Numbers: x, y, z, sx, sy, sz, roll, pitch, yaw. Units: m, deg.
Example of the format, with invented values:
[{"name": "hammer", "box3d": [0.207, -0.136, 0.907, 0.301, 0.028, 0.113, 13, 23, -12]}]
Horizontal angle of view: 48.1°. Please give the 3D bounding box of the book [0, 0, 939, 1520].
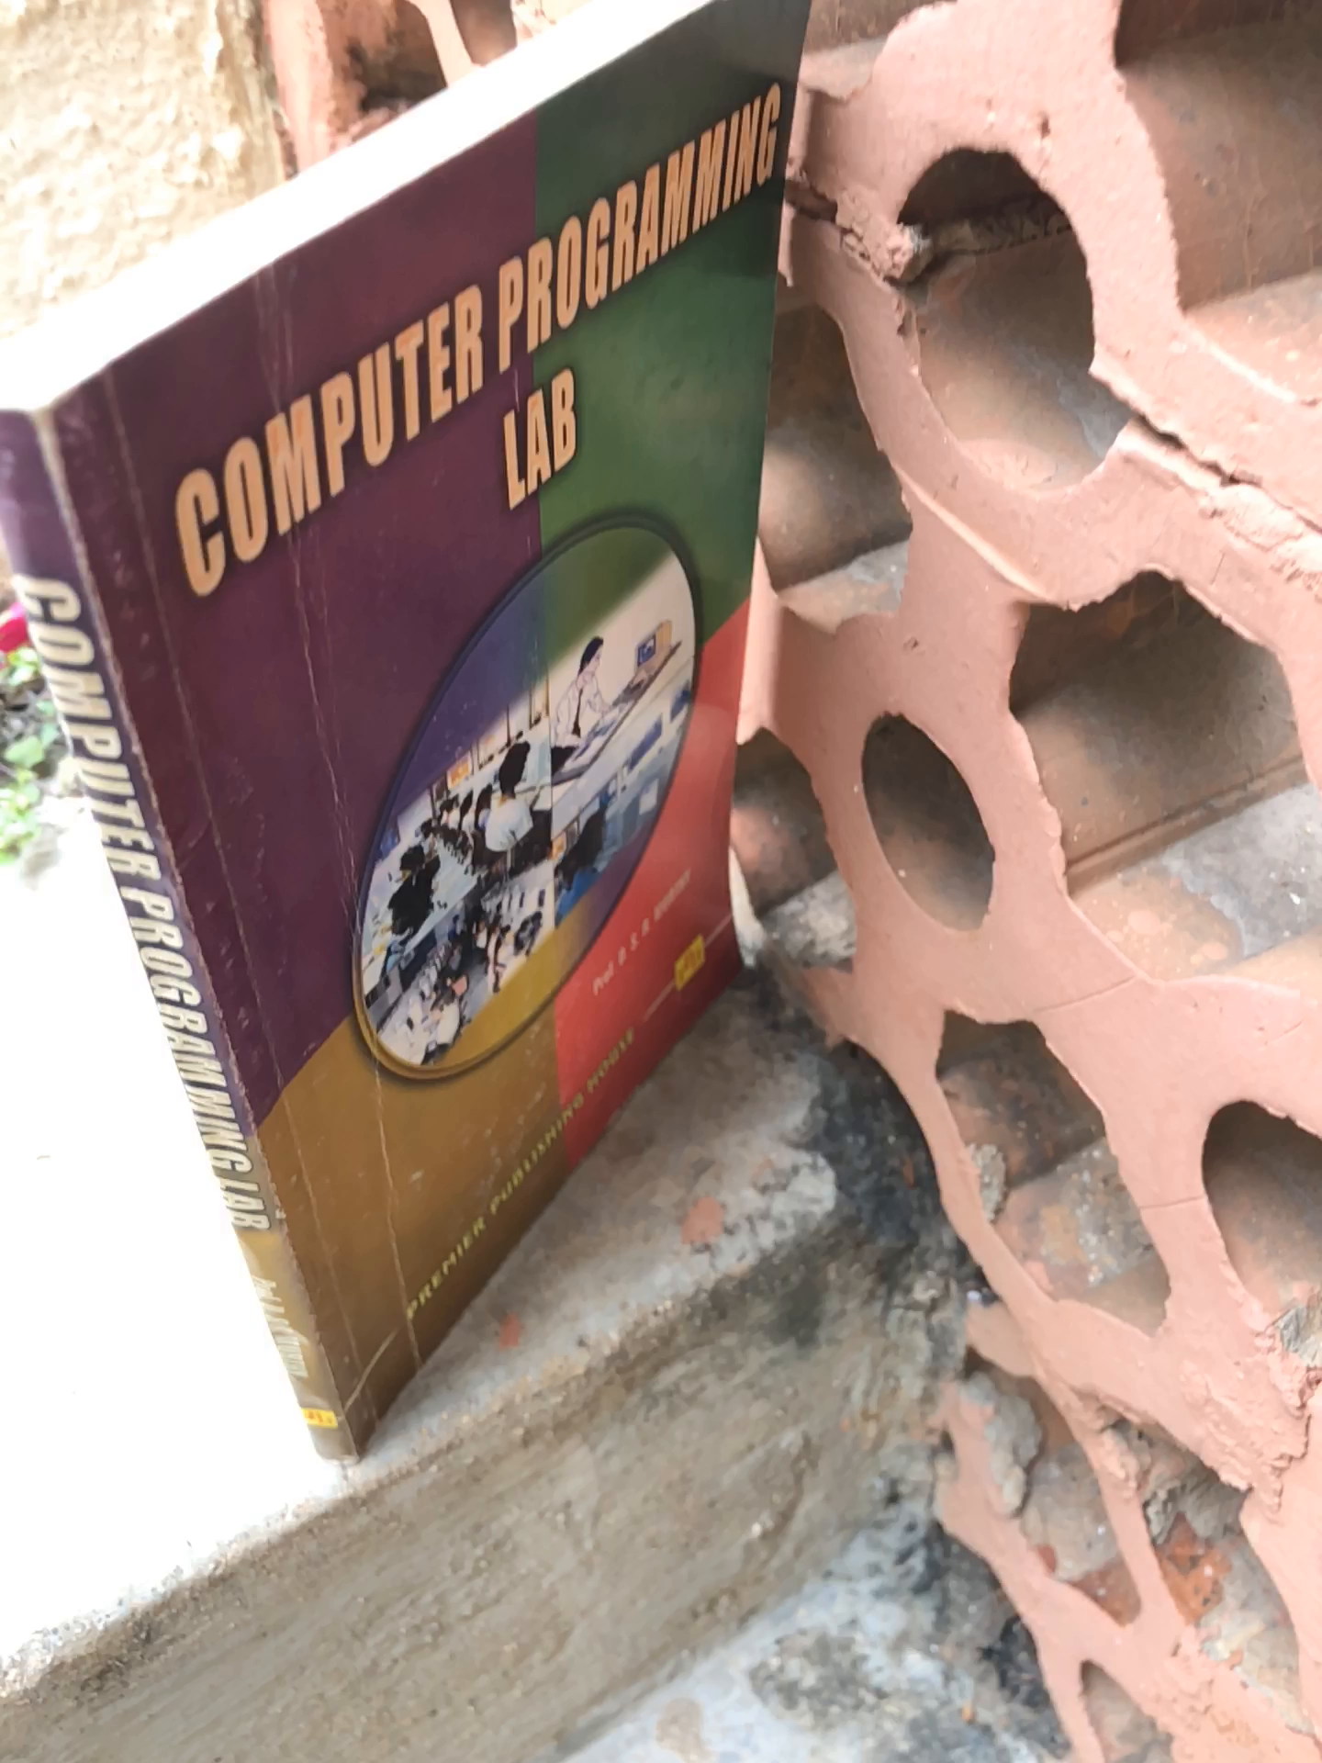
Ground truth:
[{"name": "book", "box3d": [-0.018, -0.015, 0.266, 0.020, 0.249, 0.181, 25, 50, 17]}]
